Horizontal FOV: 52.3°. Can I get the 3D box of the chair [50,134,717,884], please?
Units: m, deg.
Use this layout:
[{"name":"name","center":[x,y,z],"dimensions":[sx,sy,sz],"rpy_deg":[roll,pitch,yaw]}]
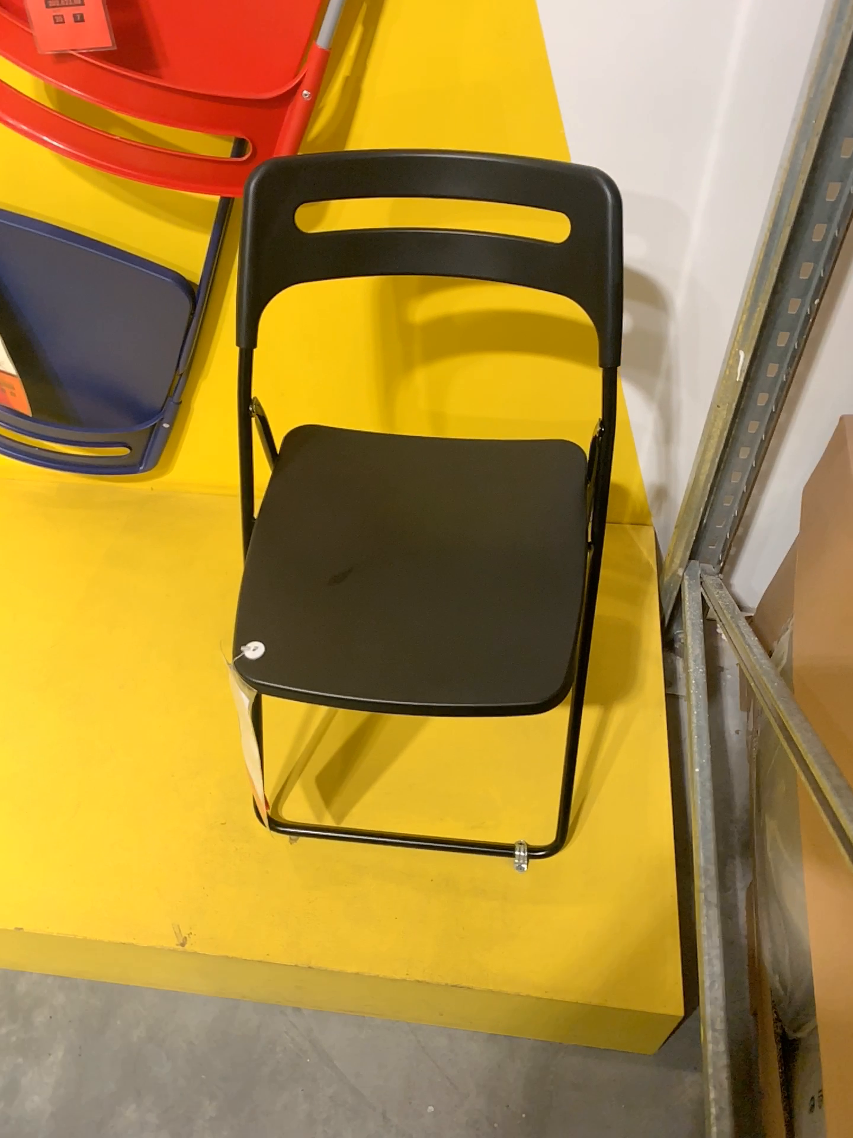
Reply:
[{"name":"chair","center":[-0.004,-0.025,0.972],"dimensions":[0.440,0.698,0.441],"rpy_deg":[5,49,5]}]
